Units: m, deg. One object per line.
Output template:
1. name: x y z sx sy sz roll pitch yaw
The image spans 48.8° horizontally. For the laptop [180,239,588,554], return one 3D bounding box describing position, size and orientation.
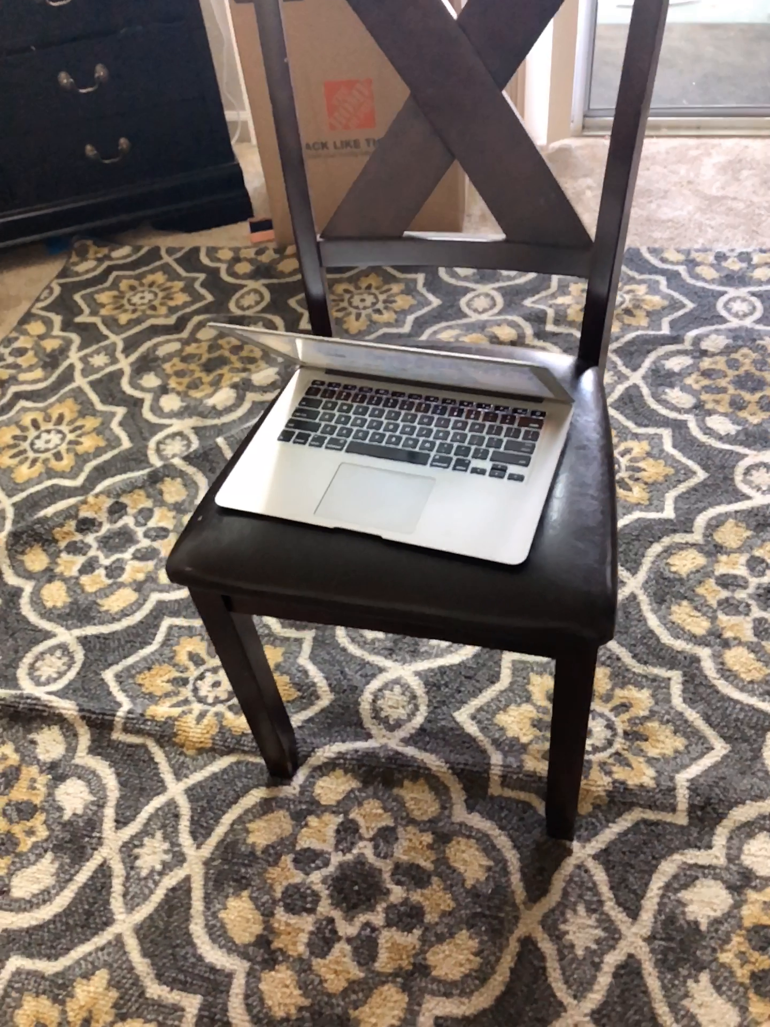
1. laptop: 0.011 -0.121 0.800 0.304 0.154 0.216 12 49 18
